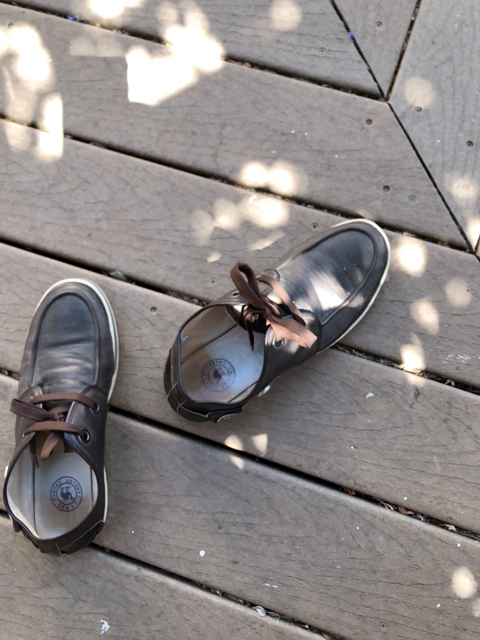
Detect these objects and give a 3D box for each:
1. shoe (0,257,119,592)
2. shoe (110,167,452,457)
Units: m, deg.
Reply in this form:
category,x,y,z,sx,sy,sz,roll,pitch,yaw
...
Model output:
category,x,y,z,sx,sy,sz,roll,pitch,yaw
shoe,-0.196,0.098,0.548,0.110,0.116,0.301,-2,83,4
shoe,0.040,-0.003,0.542,0.303,0.116,0.110,-35,82,-1
